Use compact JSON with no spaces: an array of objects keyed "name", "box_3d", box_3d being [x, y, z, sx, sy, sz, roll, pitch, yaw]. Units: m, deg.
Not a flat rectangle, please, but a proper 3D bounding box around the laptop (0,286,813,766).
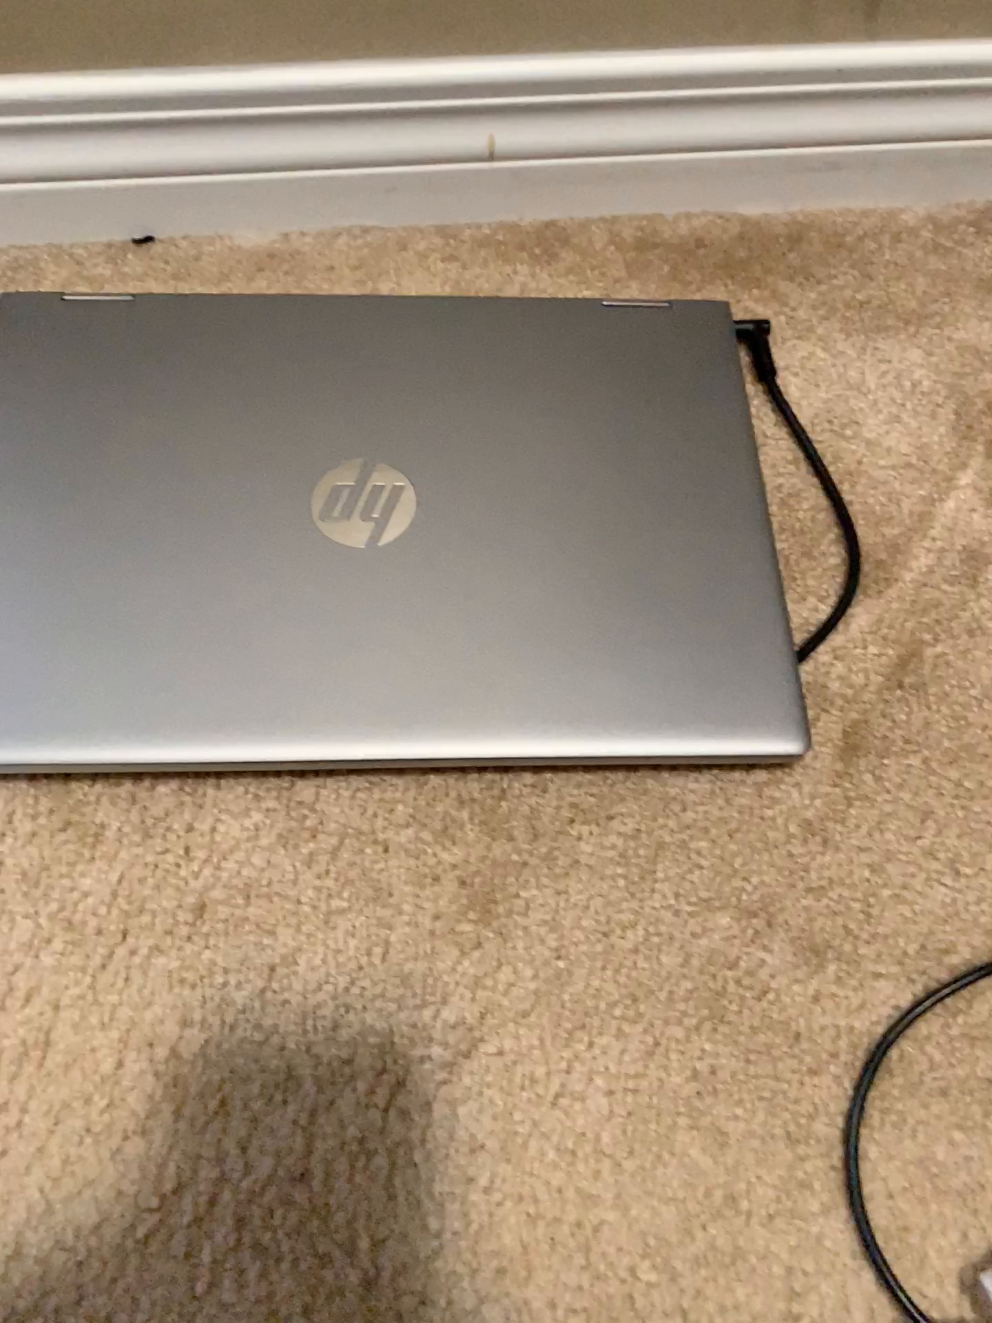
[{"name":"laptop","box_3d":[-0.050,-0.065,0.400,0.319,0.001,0.222,0,61,-5]}]
